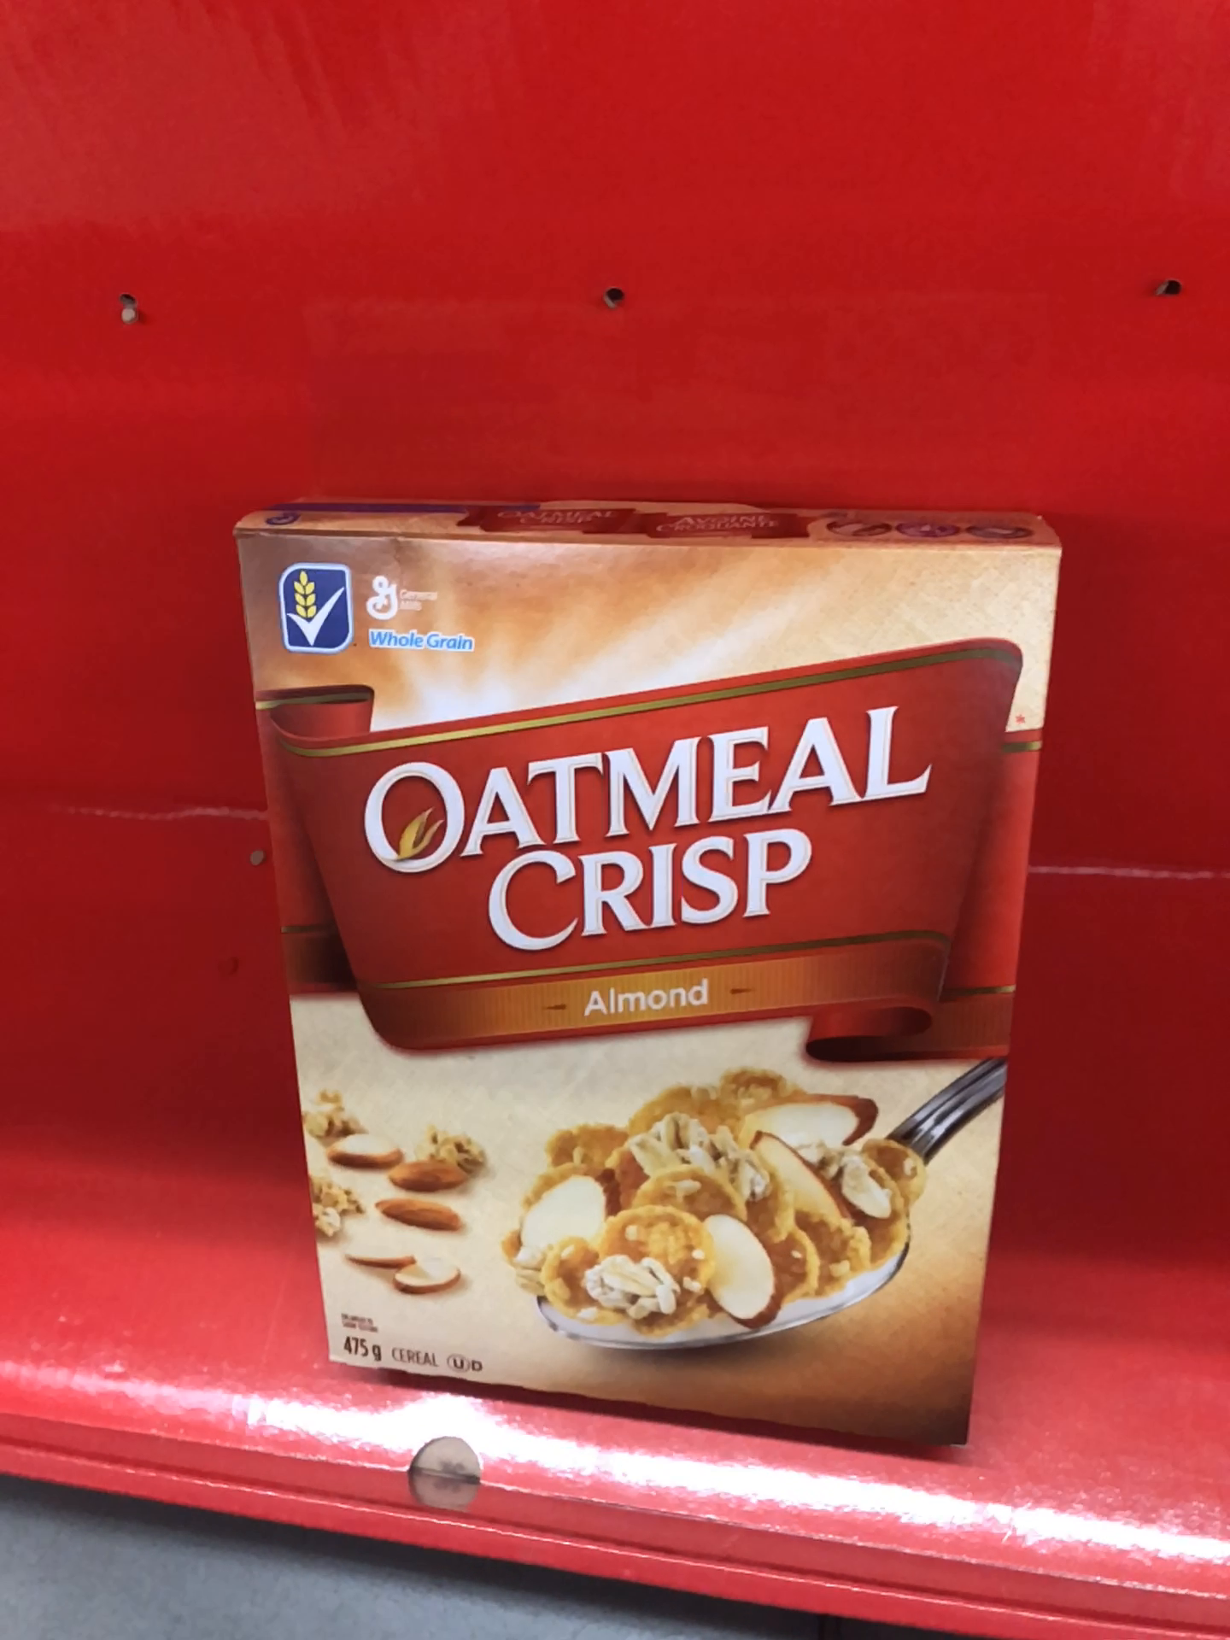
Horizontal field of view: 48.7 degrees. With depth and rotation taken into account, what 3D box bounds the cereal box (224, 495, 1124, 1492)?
[{"bbox_3d":[0.013,0.050,0.395,0.210,0.269,0.070,3,21,8],"label":"cereal box"}]
